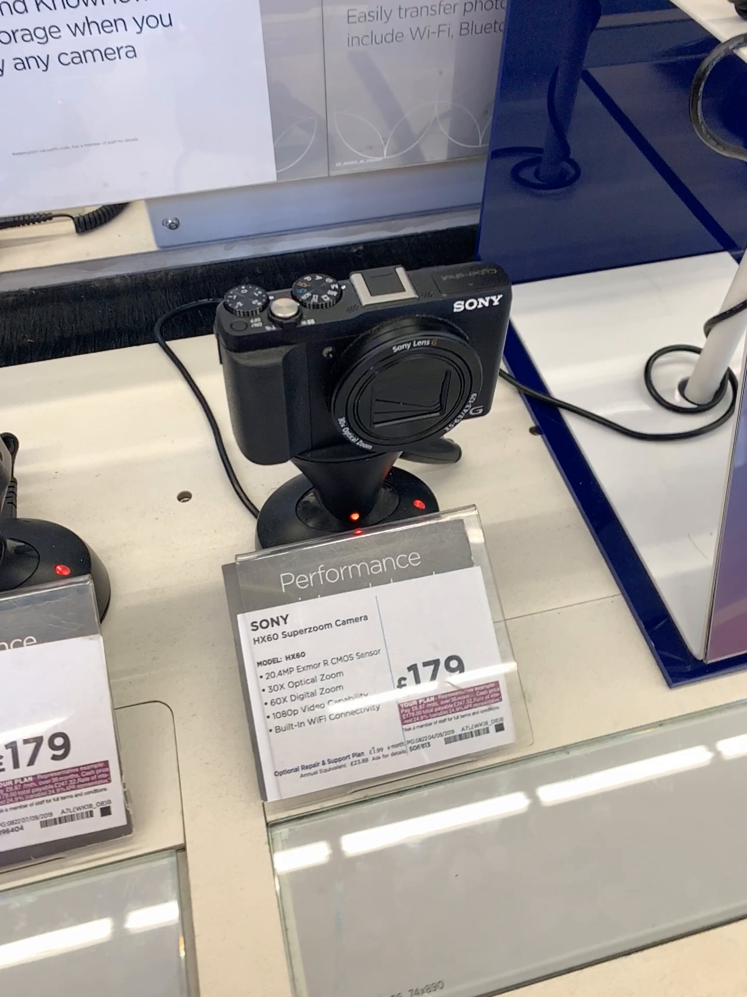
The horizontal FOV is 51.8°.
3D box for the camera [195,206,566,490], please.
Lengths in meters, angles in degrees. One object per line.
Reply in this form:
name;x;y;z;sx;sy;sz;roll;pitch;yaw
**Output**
camera;0.001;-0.052;0.269;0.110;0.069;0.040;-13;53;-10
